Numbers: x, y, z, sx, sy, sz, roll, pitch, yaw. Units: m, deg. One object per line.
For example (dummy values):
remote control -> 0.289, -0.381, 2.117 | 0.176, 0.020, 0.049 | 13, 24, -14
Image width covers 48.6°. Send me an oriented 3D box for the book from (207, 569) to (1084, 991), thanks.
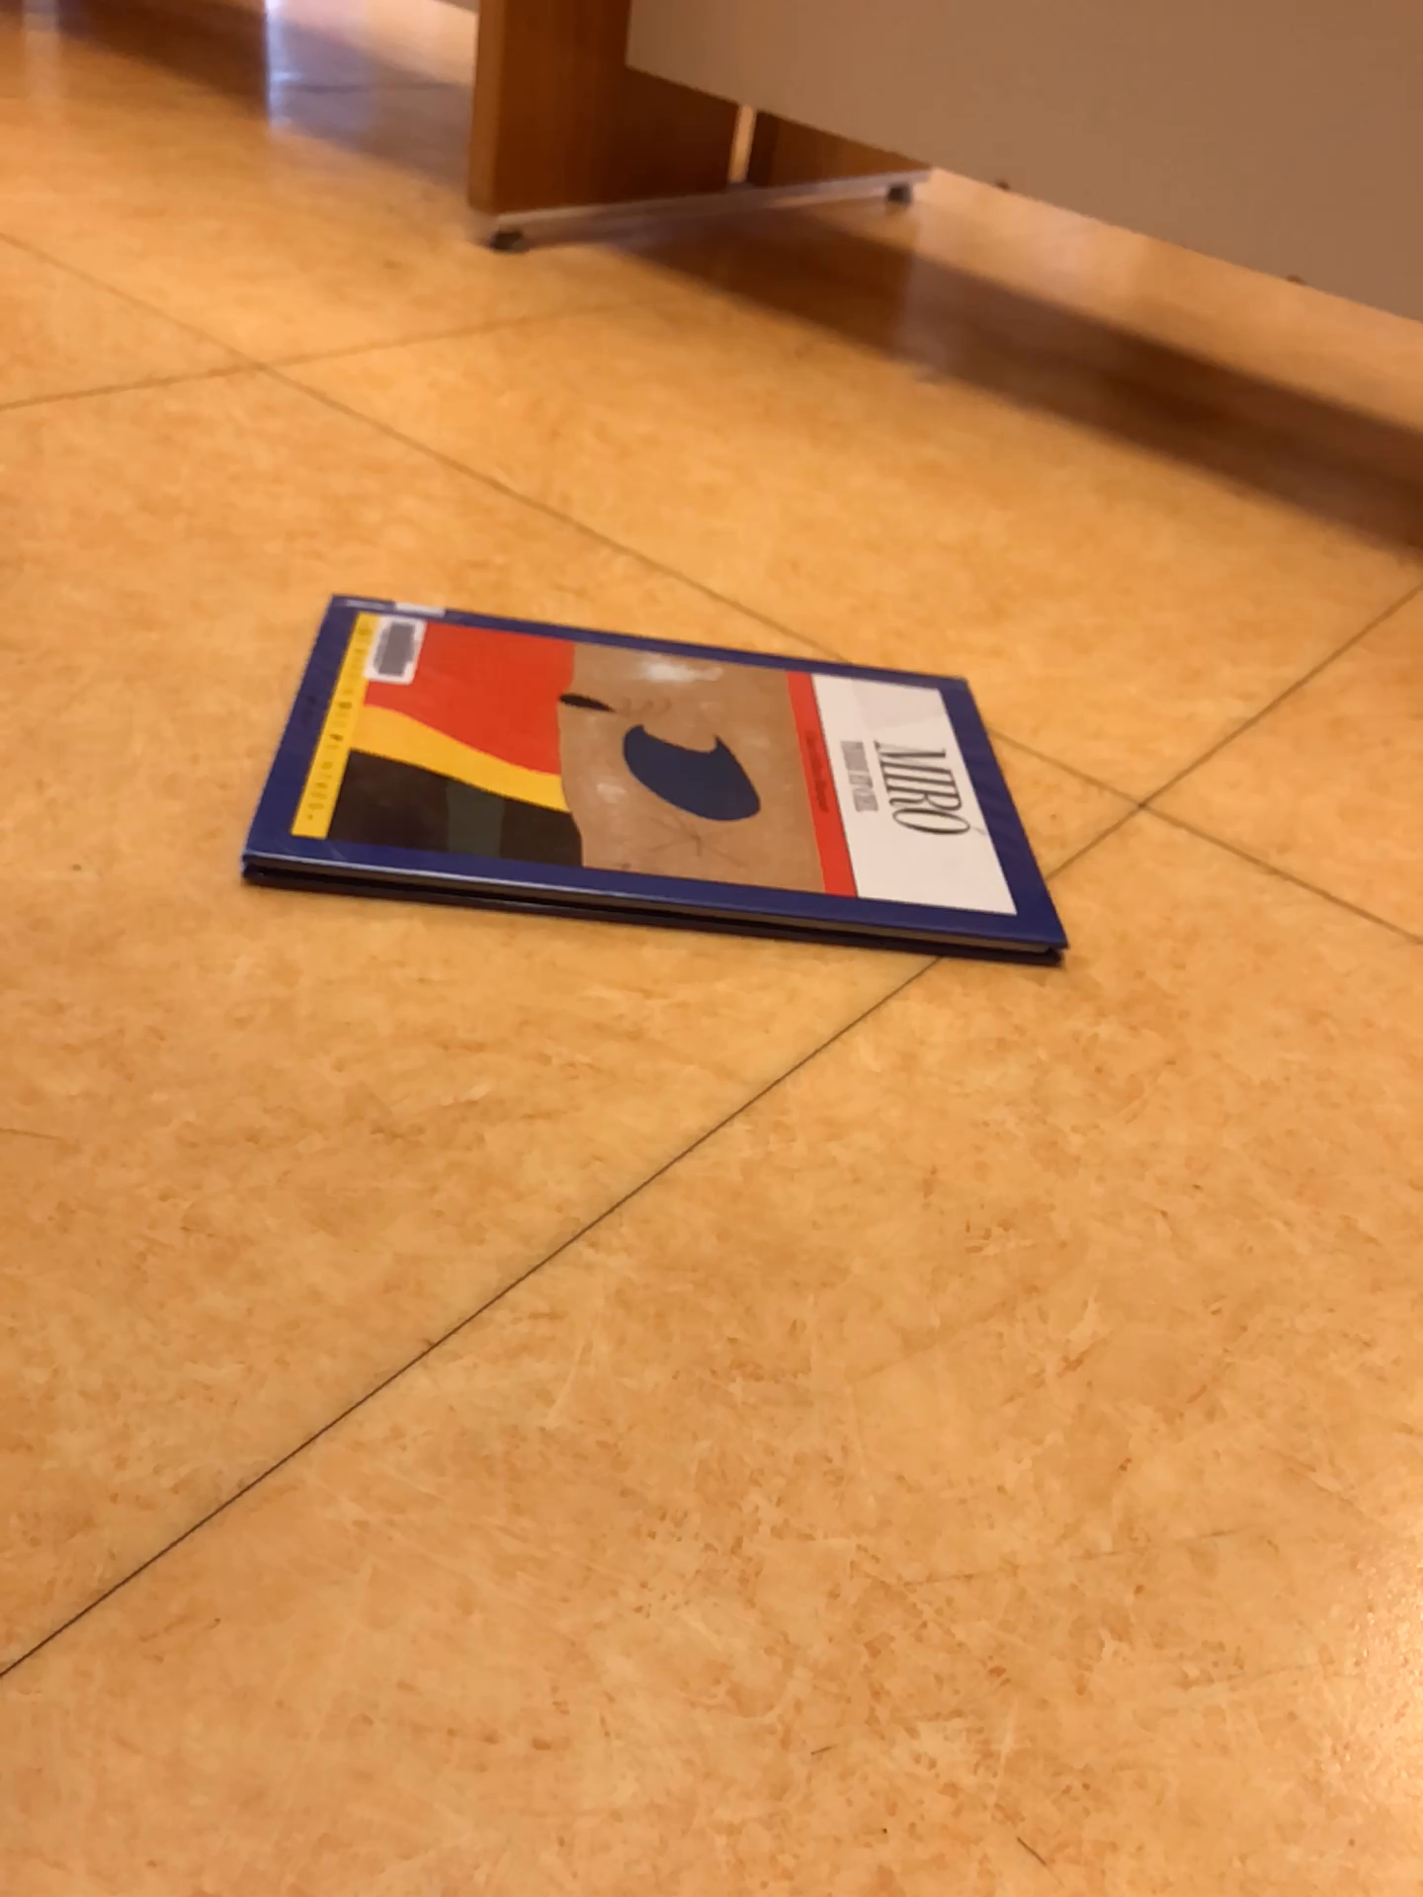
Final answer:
book -> -0.020, -0.061, 0.513 | 0.245, 0.020, 0.178 | 6, 36, -9
